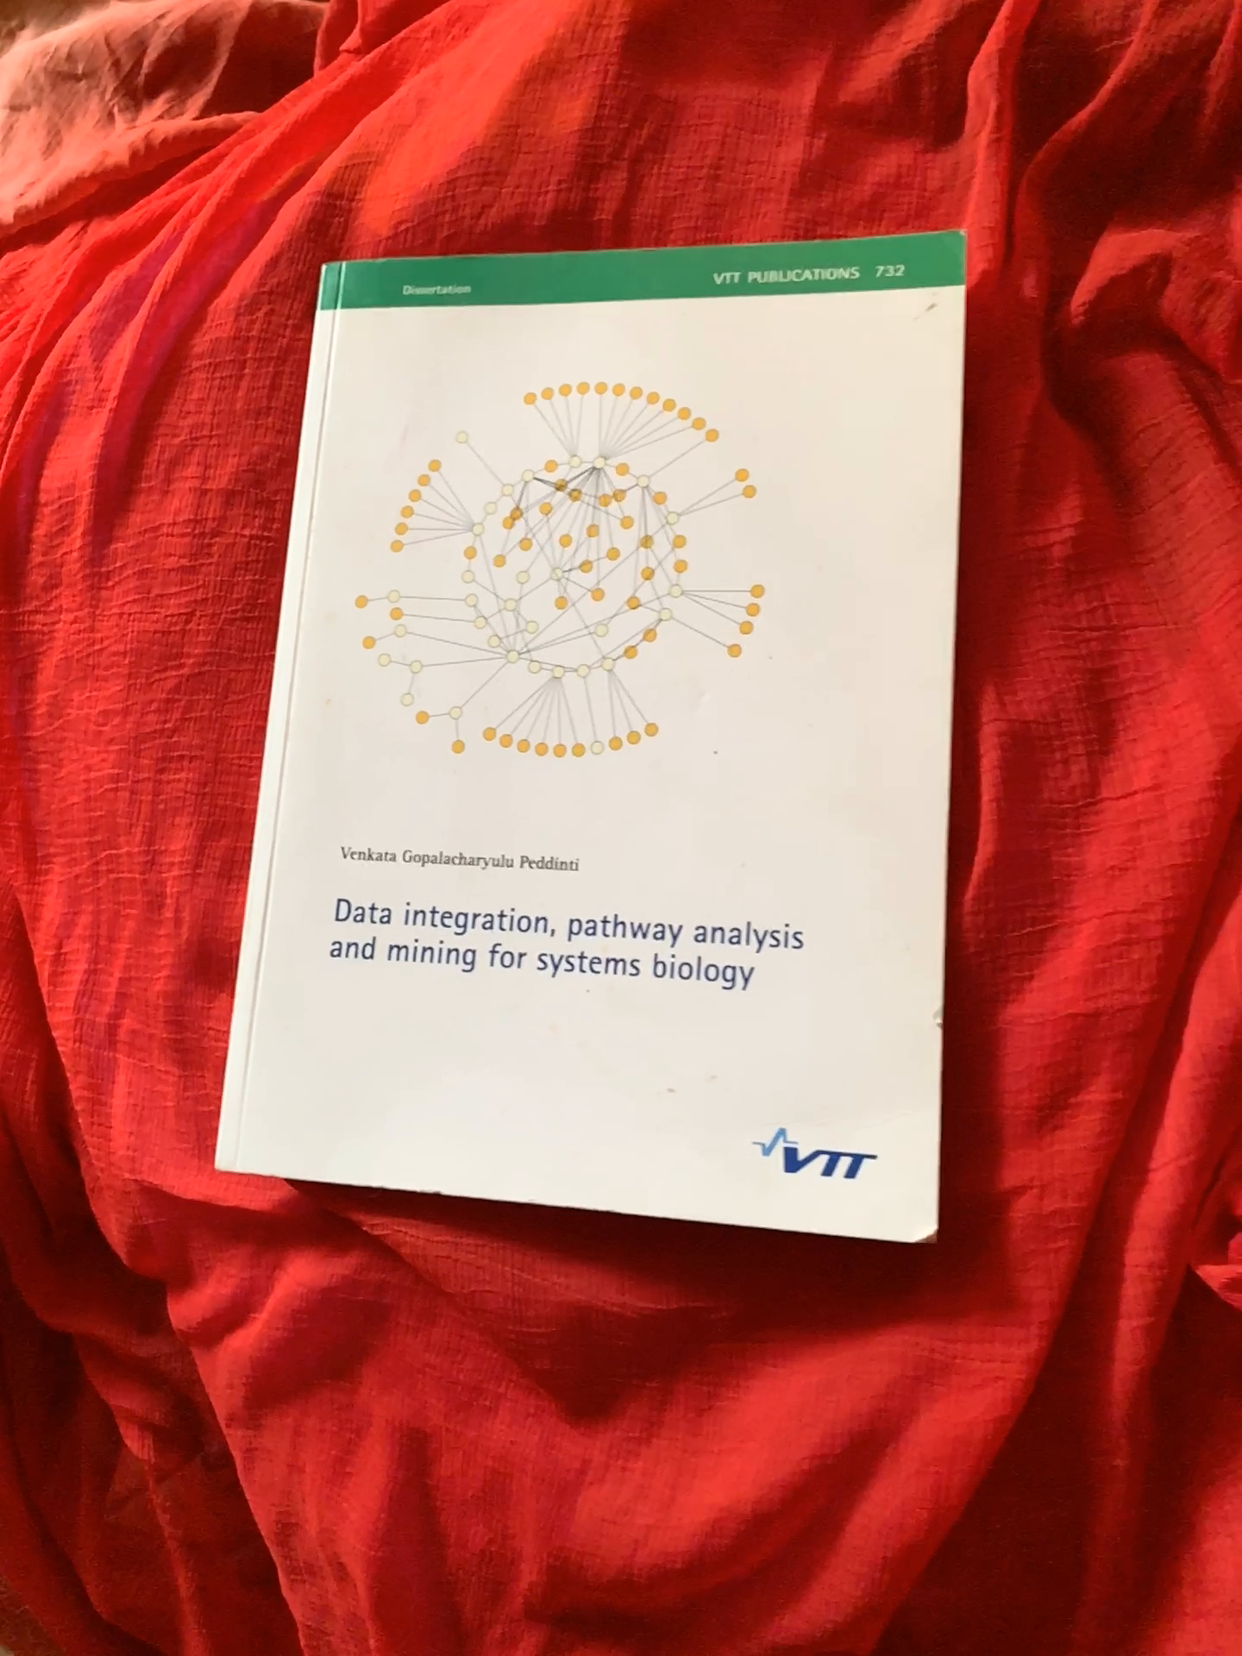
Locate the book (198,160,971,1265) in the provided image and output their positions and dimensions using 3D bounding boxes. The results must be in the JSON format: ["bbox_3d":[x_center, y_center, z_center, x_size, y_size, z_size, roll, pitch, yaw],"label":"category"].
[{"bbox_3d":[-0.006,-0.039,0.334,0.180,0.020,0.270,2,79,14],"label":"book"}]
